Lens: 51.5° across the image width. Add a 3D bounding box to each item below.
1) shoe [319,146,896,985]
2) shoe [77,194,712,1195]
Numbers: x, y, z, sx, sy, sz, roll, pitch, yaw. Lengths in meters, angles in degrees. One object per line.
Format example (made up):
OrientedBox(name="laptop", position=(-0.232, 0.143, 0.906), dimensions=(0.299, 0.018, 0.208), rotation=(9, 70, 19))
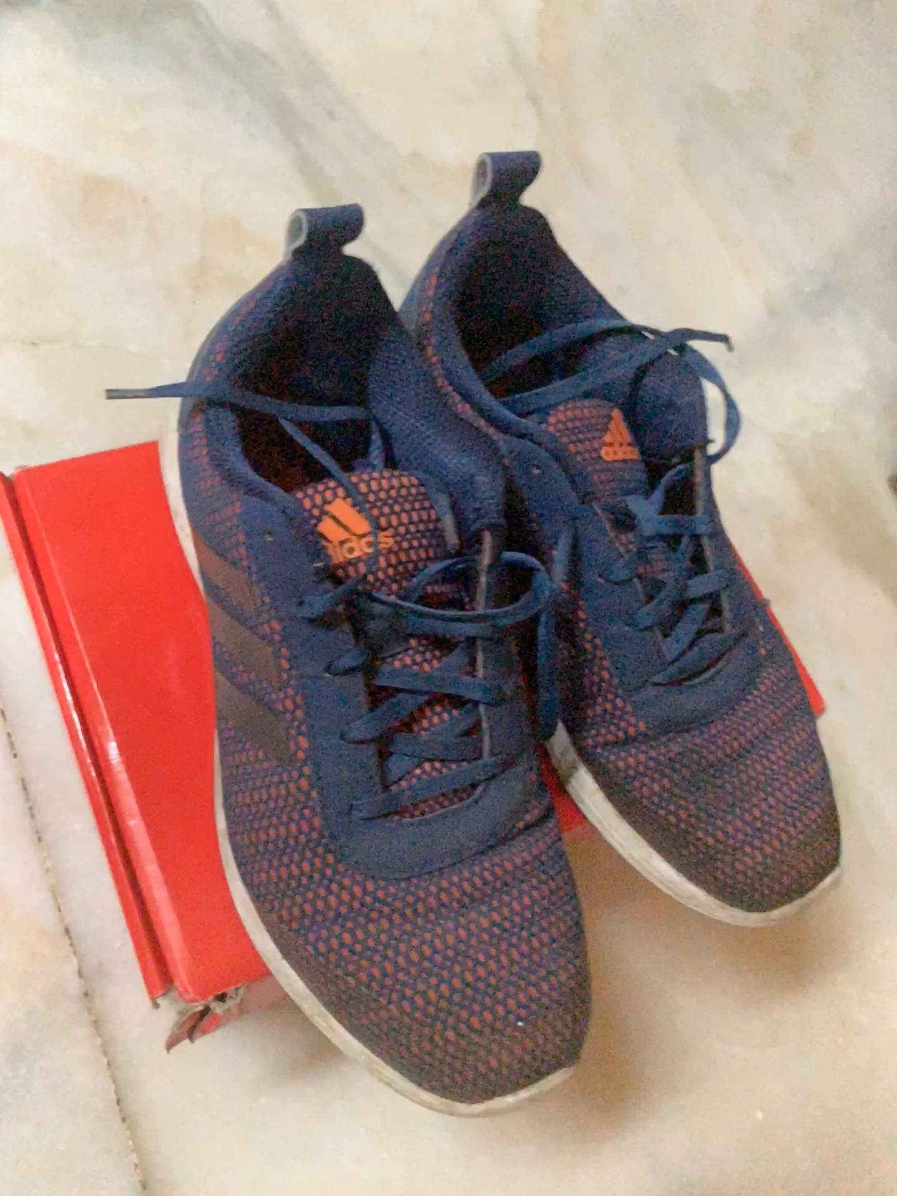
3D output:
OrientedBox(name="shoe", position=(0.064, -0.021, 0.337), dimensions=(0.100, 0.080, 0.280), rotation=(-21, 75, -26))
OrientedBox(name="shoe", position=(-0.039, 0.017, 0.321), dimensions=(0.100, 0.099, 0.301), rotation=(-13, 72, -23))
